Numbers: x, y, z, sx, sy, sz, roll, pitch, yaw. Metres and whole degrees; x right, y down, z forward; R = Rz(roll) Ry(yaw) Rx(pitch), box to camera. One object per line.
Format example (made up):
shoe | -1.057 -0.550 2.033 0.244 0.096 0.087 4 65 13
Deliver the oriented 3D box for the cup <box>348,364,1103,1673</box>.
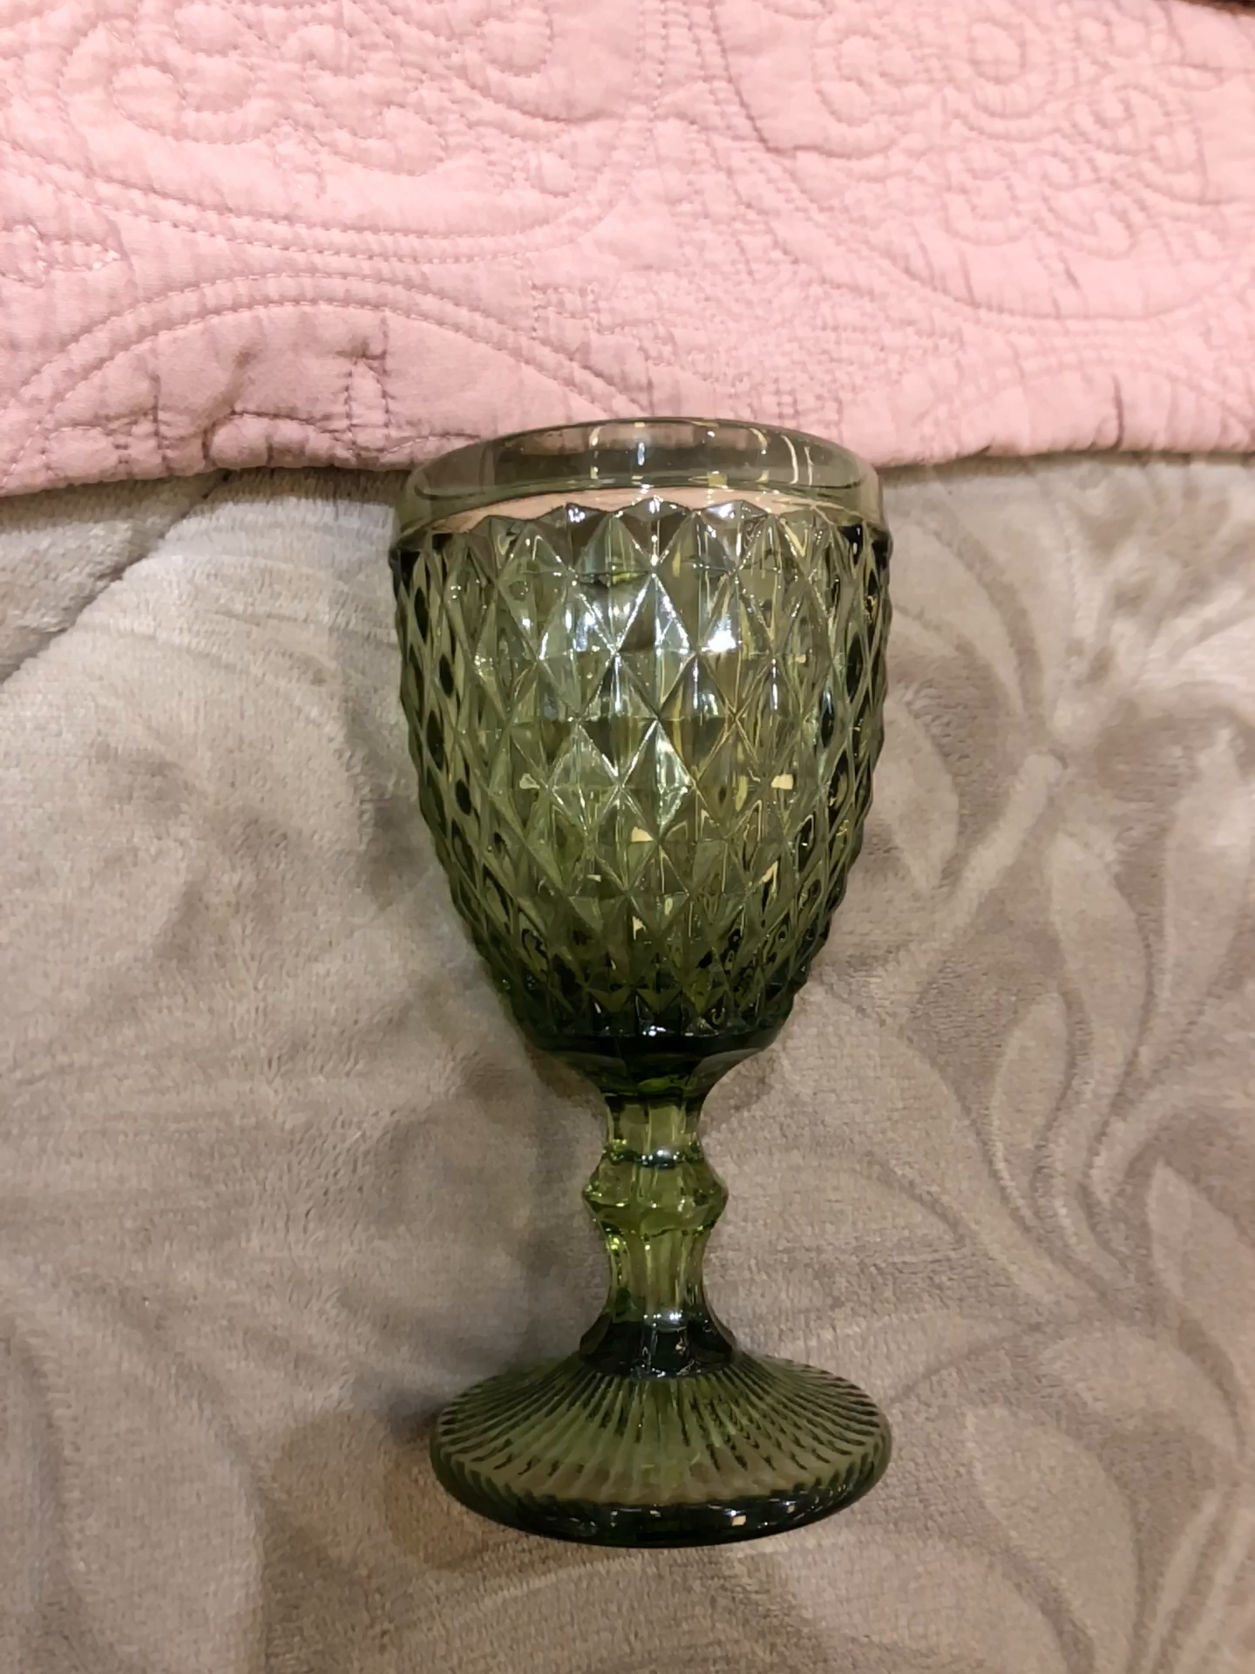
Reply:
cup | 0.009 0.033 0.241 0.090 0.080 0.190 0 81 -24
